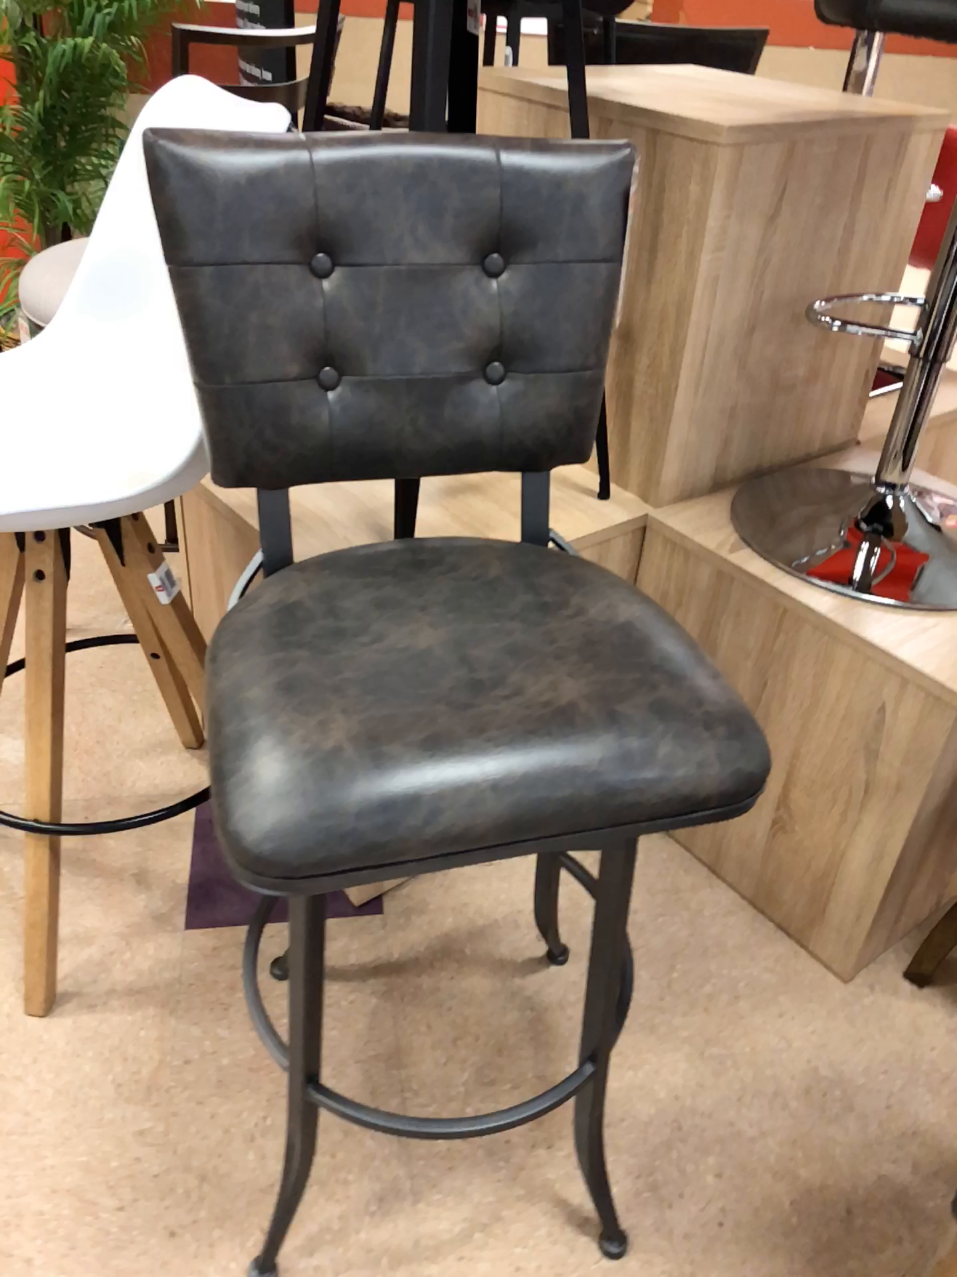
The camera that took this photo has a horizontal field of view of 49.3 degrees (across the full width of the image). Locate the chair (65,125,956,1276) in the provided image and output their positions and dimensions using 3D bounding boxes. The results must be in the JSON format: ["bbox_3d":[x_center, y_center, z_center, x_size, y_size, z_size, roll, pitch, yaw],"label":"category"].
[{"bbox_3d":[-0.031,0.129,1.066,0.518,1.108,0.515,-6,35,-13],"label":"chair"}]
